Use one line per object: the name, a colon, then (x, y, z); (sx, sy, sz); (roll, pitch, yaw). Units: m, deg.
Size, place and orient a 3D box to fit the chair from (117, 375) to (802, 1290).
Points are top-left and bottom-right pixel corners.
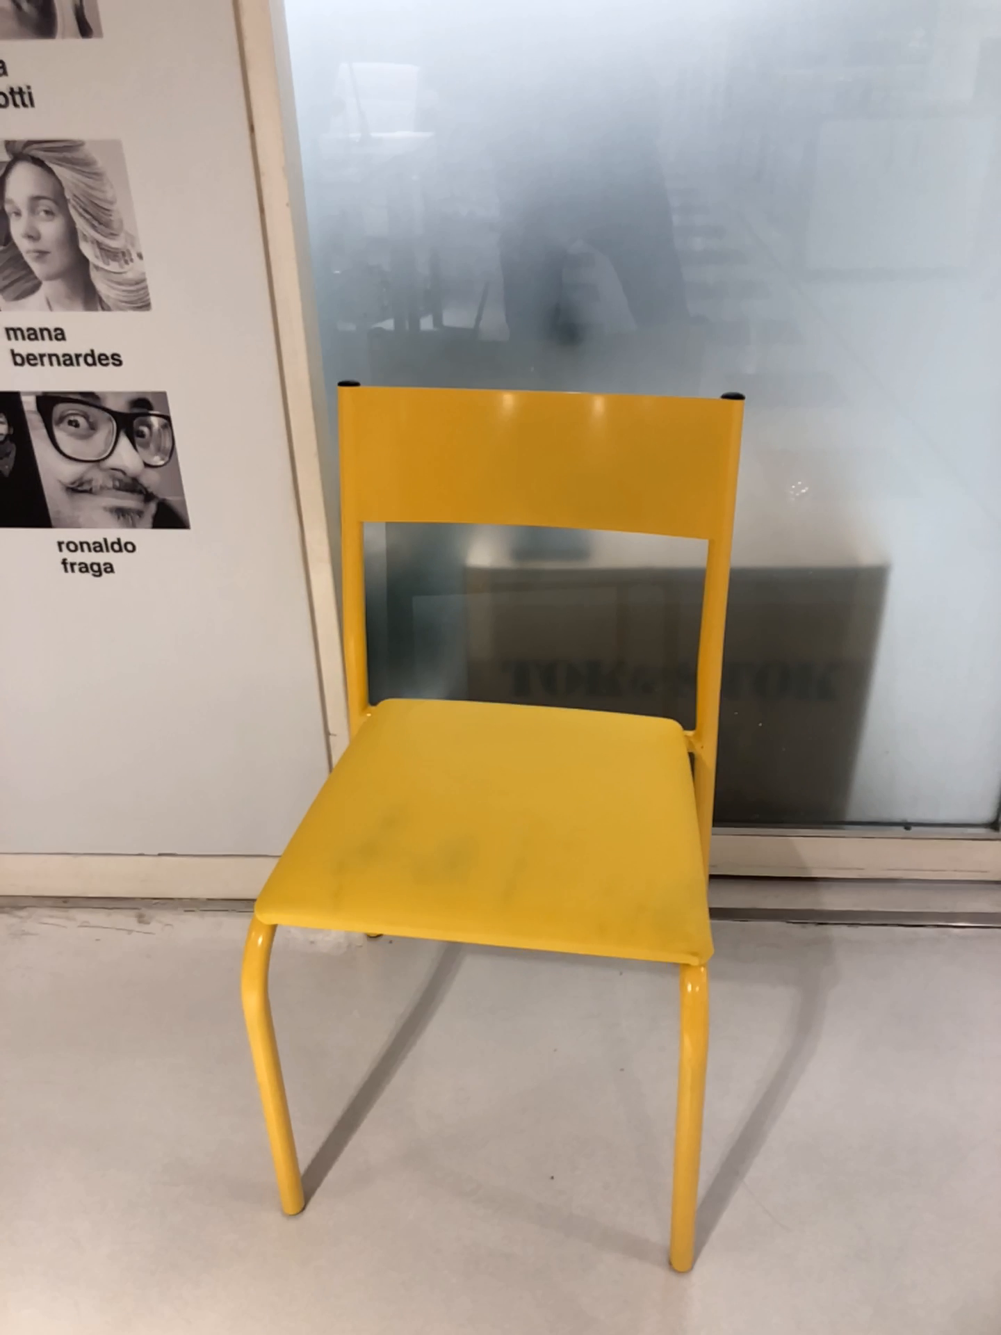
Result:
chair: (0.011, 0.155, 1.193); (0.490, 0.784, 0.524); (4, 31, 9)
